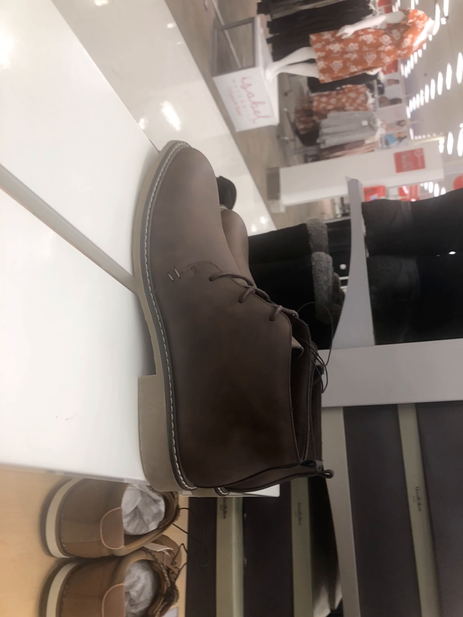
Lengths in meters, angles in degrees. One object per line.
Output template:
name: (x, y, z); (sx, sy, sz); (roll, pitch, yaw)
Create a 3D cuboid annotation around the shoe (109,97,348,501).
shoe: (0.003, 0.000, 0.465); (0.128, 0.173, 0.314); (42, 45, -71)

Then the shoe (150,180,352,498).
shoe: (0.032, 0.037, 0.568); (0.133, 0.172, 0.314); (59, 29, -61)
